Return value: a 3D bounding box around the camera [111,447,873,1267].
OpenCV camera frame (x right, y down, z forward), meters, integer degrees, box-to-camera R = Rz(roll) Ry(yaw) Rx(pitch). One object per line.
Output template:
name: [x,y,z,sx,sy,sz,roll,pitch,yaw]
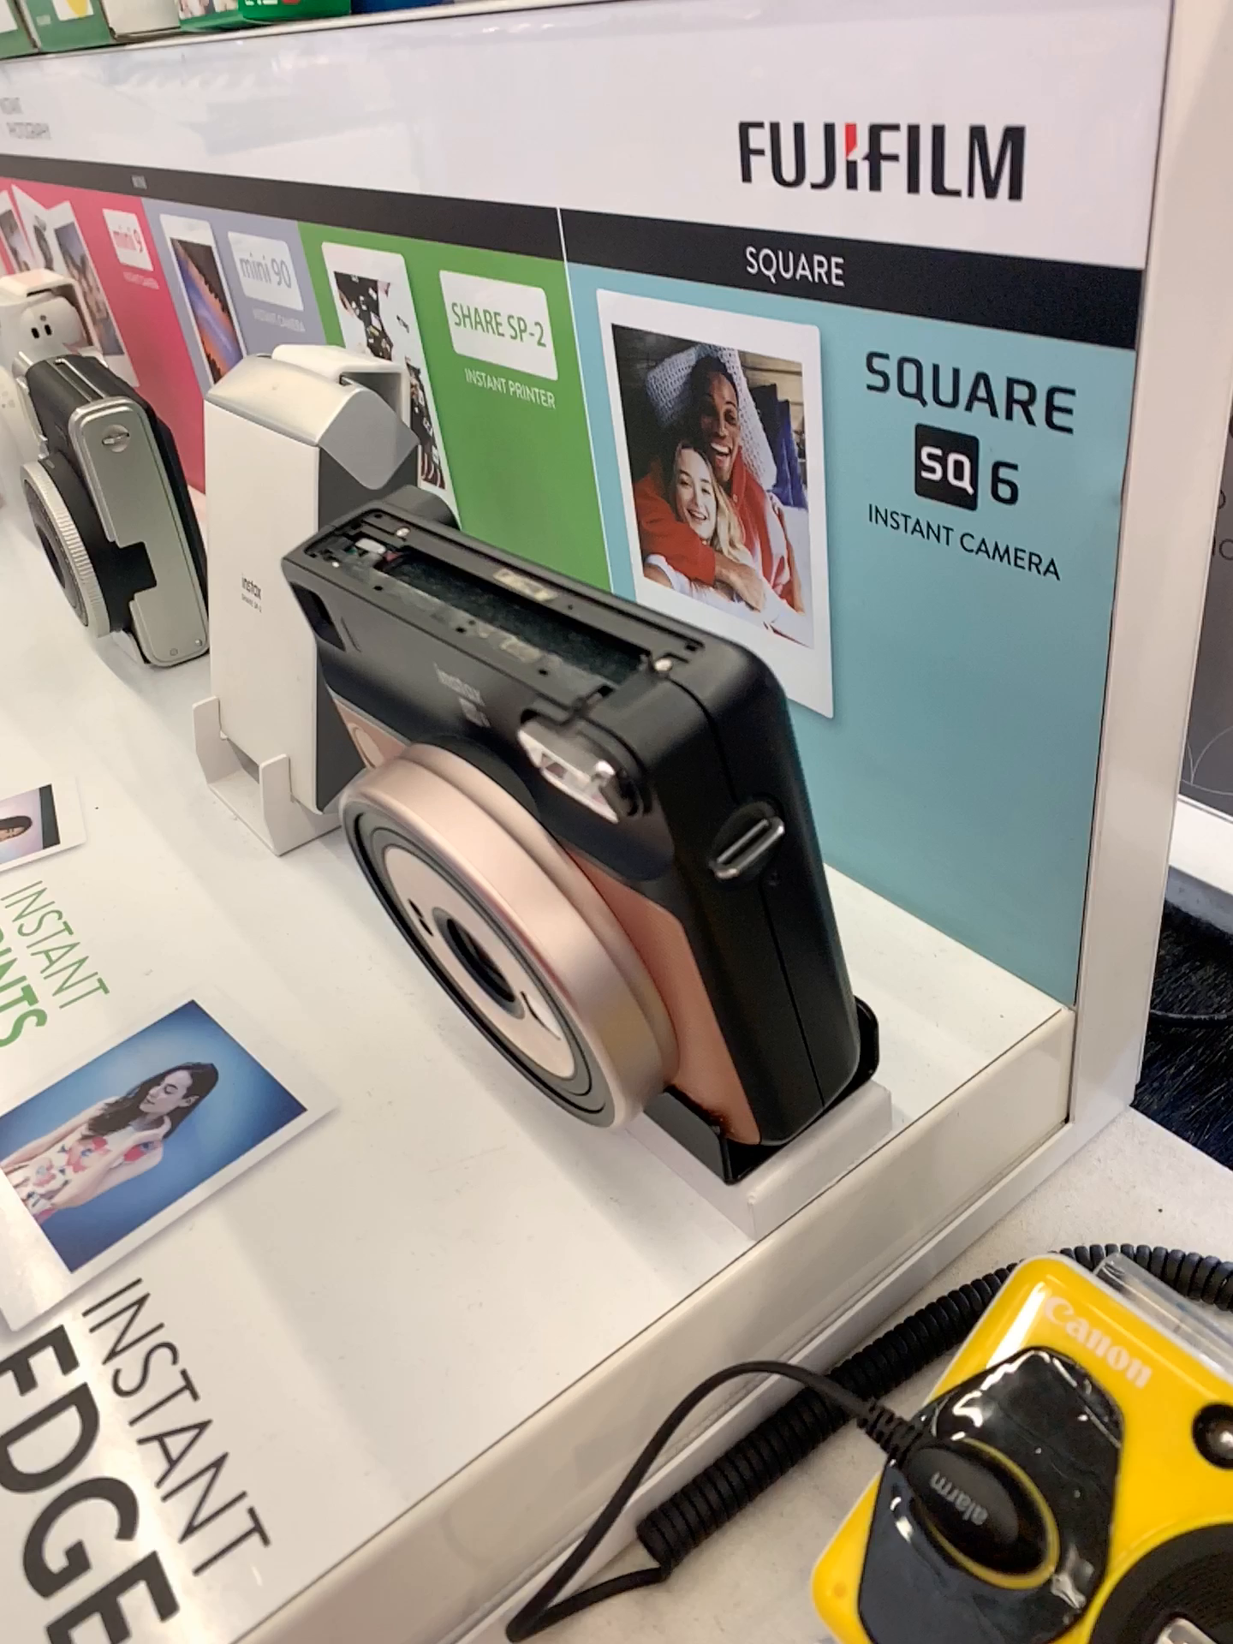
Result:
camera: [-0.024,0.002,0.264,0.060,0.119,0.131,-39,44,-21]
